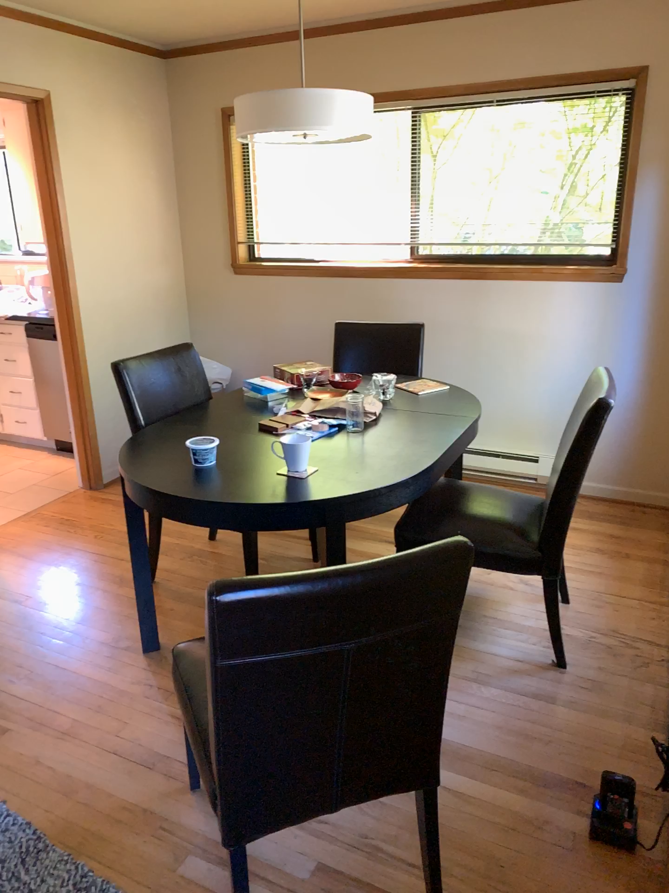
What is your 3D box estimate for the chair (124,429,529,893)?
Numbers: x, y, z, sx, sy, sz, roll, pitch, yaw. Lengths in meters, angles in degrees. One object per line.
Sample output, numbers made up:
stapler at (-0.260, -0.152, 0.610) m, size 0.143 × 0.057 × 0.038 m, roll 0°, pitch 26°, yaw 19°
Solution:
chair at (-0.059, 0.610, 1.515) m, size 0.620 × 1.085 × 0.653 m, roll -8°, pitch 20°, yaw -18°
